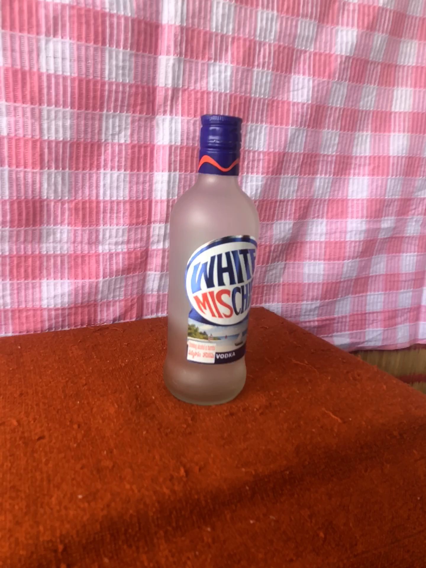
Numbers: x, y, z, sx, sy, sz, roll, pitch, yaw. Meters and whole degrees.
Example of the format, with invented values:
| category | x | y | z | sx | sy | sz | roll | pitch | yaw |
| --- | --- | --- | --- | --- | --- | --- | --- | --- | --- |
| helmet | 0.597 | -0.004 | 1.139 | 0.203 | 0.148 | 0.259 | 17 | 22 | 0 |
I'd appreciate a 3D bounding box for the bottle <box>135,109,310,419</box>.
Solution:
| category | x | y | z | sx | sy | sz | roll | pitch | yaw |
| --- | --- | --- | --- | --- | --- | --- | --- | --- | --- |
| bottle | 0.000 | -0.016 | 0.339 | 0.080 | 0.199 | 0.070 | -3 | 19 | -29 |
